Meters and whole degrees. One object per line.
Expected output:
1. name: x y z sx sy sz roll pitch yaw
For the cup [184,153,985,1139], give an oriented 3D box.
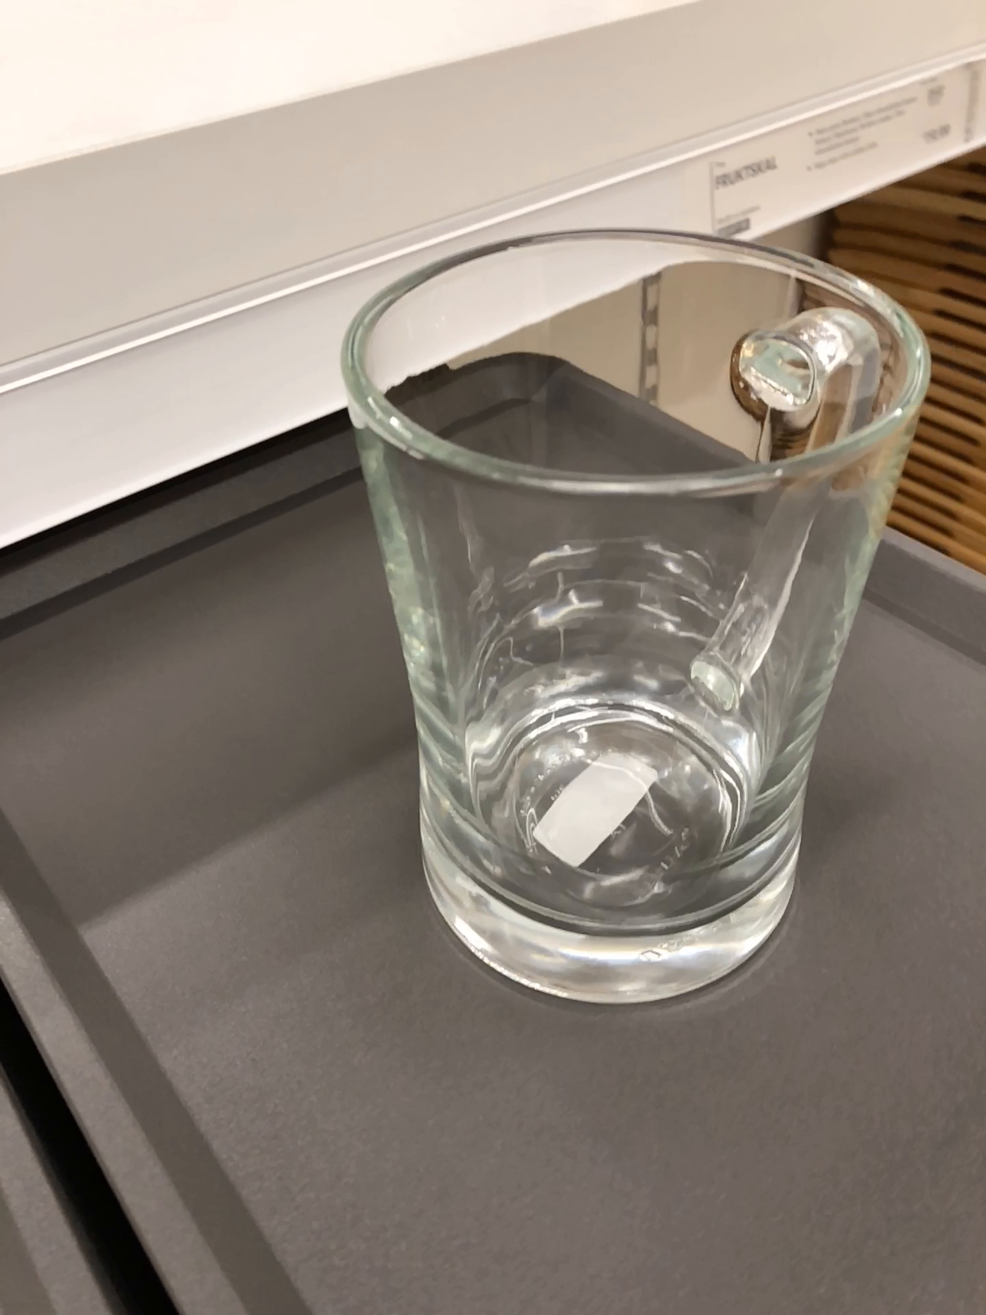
1. cup: 0.043 -0.017 0.248 0.110 0.130 0.160 31 50 34
